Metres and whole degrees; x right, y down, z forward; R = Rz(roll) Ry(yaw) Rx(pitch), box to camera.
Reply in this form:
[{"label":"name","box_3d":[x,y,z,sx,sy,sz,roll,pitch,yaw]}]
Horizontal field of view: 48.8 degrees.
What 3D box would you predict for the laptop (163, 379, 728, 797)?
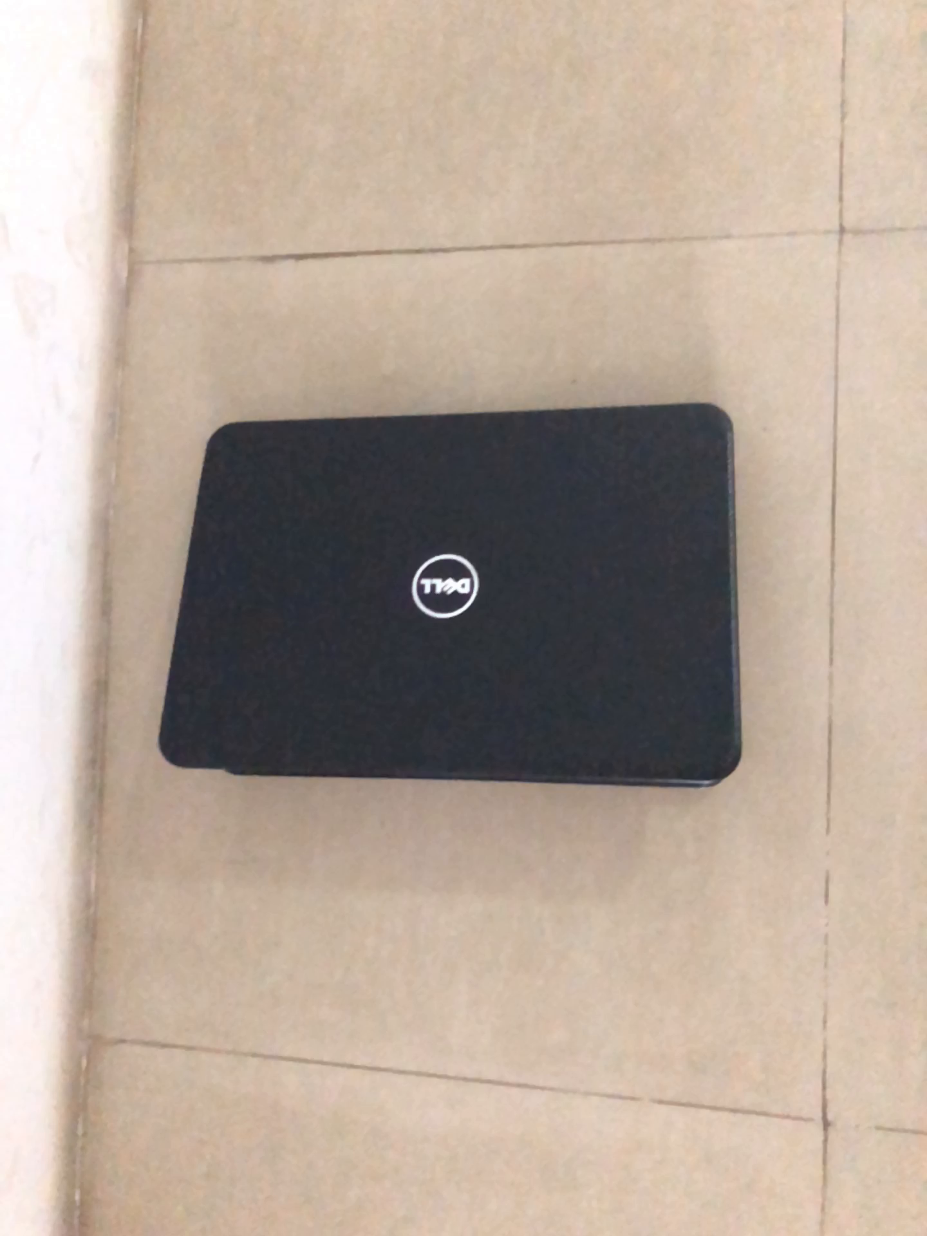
[{"label":"laptop","box_3d":[-0.013,-0.014,0.675,0.357,0.078,0.247,-1,89,10]}]
